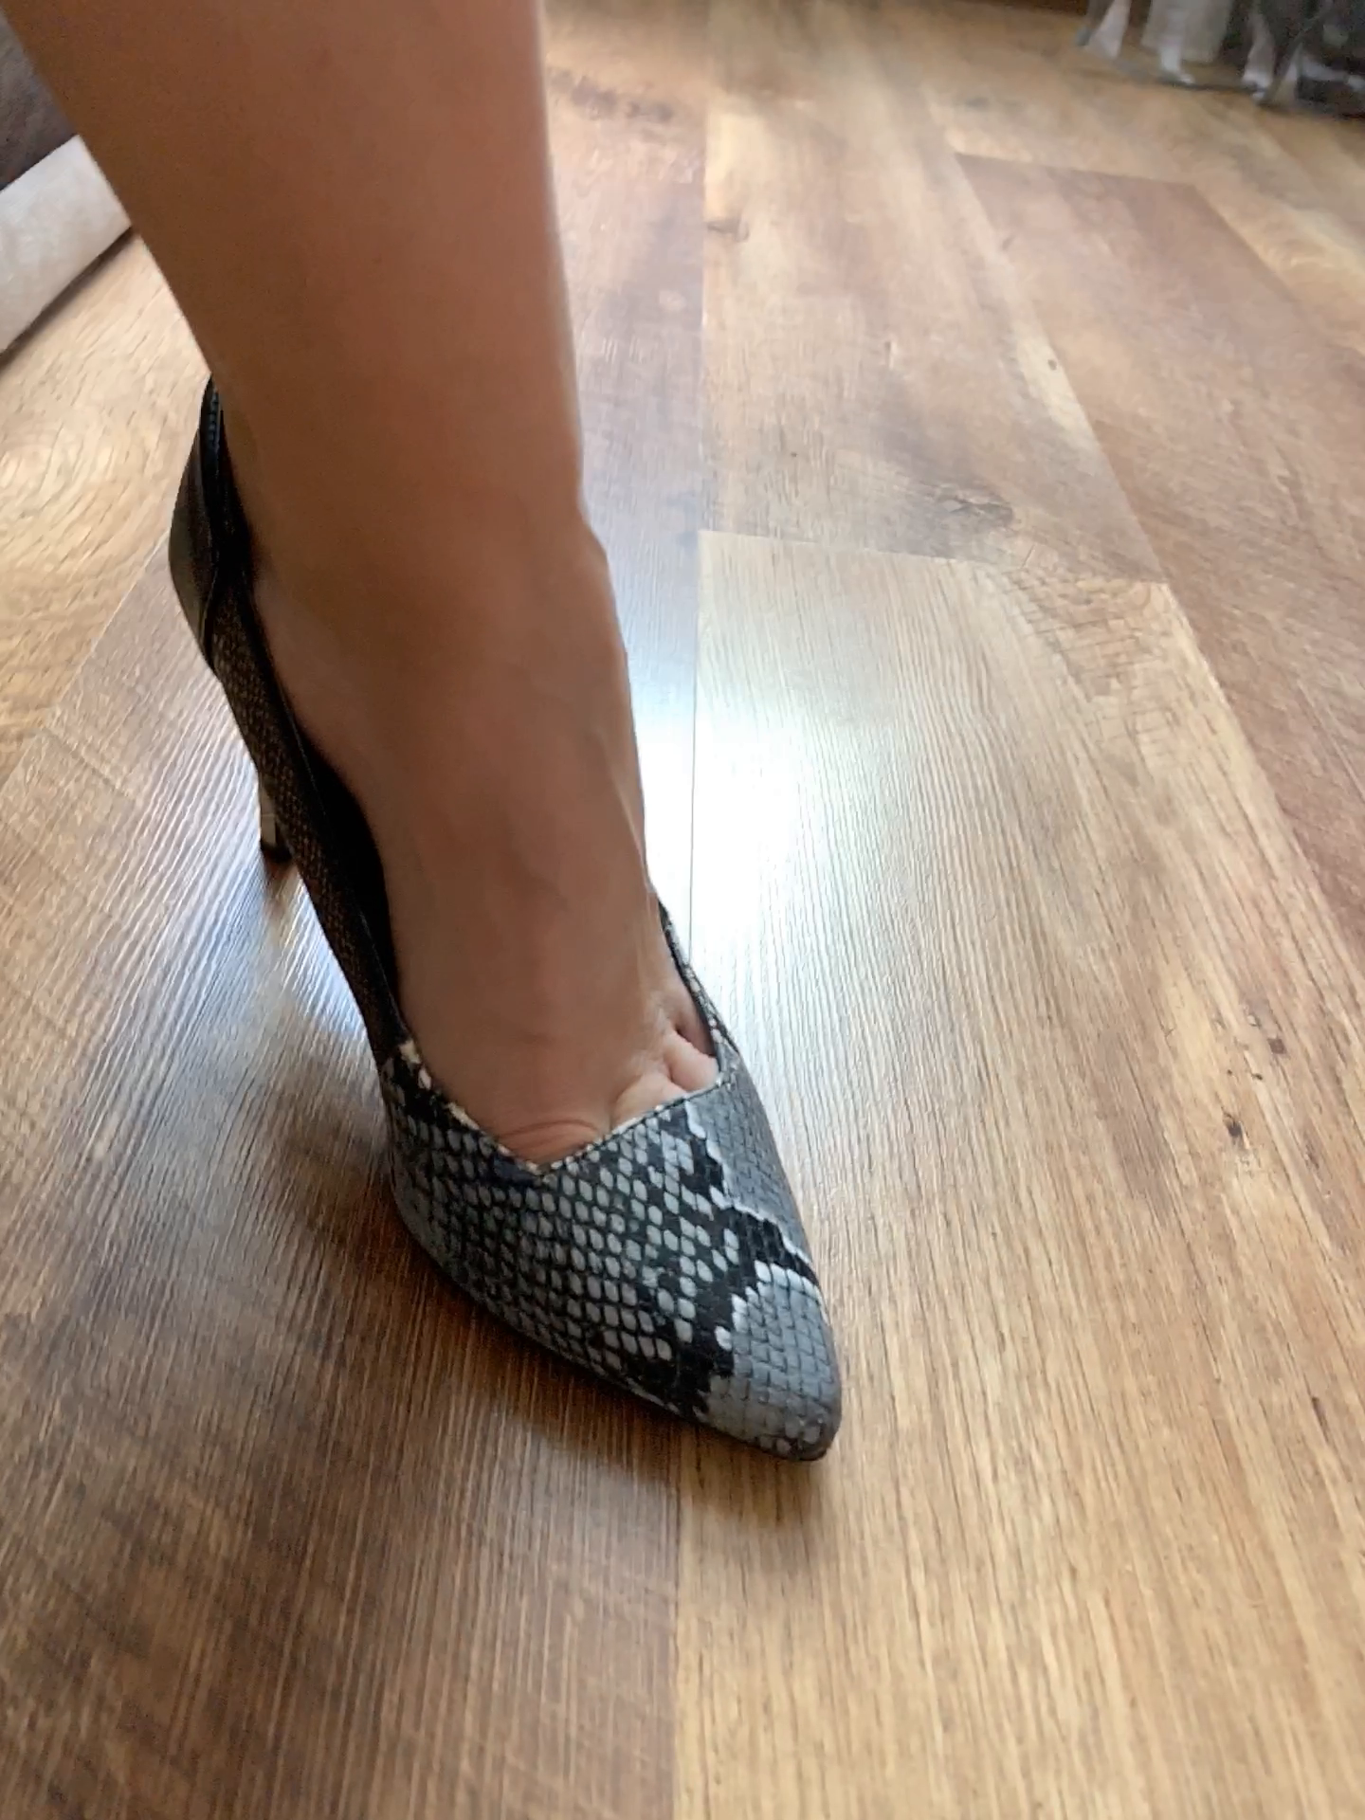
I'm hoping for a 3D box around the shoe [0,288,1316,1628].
[{"bbox_3d":[-0.033,-0.017,0.271,0.090,0.109,0.251,-24,51,-33],"label":"shoe"}]
